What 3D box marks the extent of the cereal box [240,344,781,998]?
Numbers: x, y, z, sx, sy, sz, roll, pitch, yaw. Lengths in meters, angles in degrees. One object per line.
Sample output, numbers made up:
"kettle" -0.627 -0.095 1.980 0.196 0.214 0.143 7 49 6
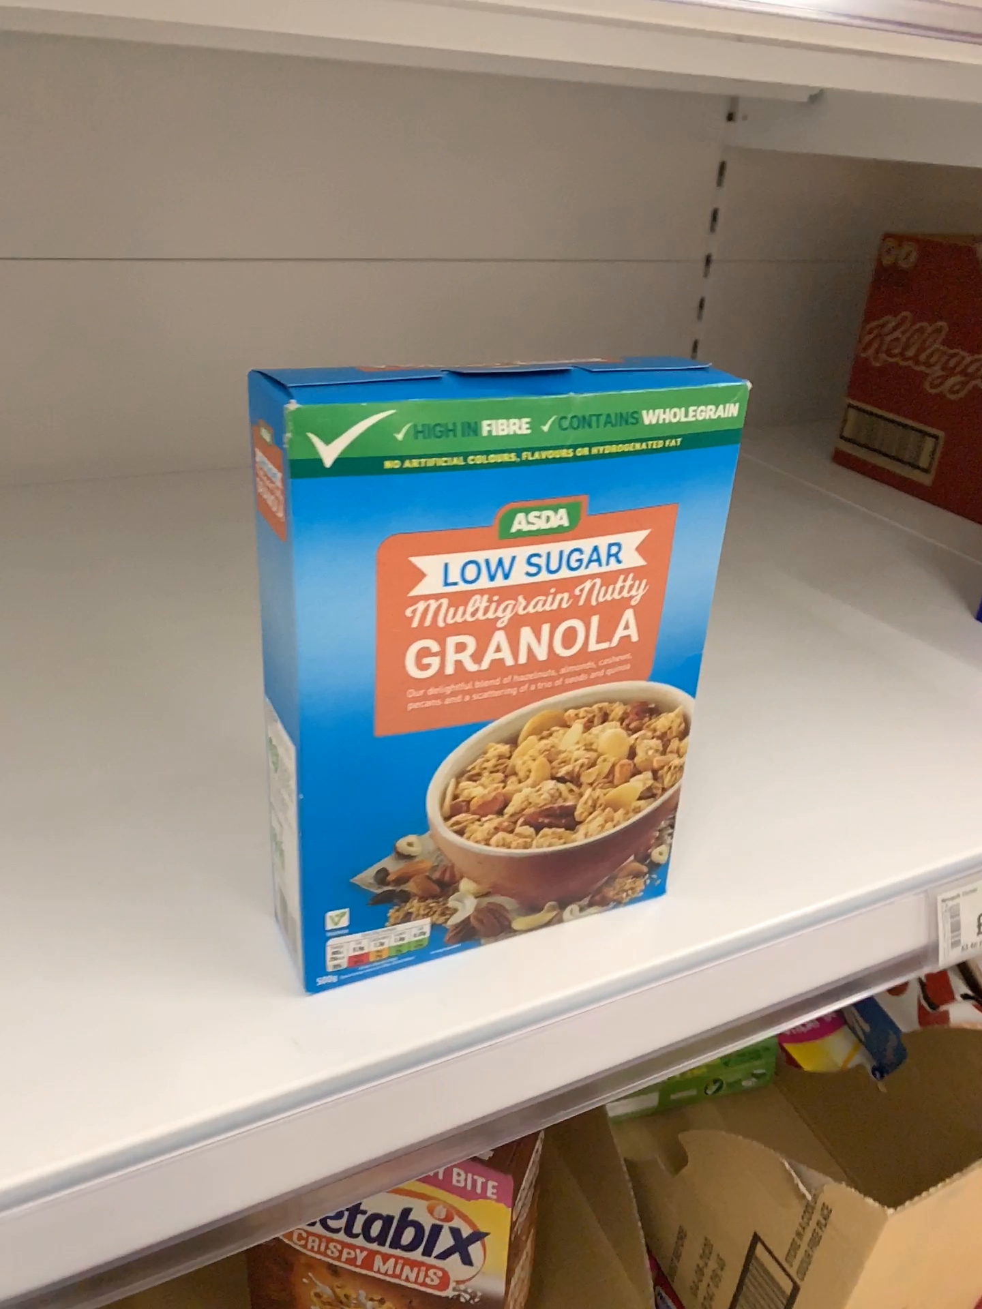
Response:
"cereal box" 0.002 0.005 0.424 0.190 0.248 0.060 -9 30 -24
